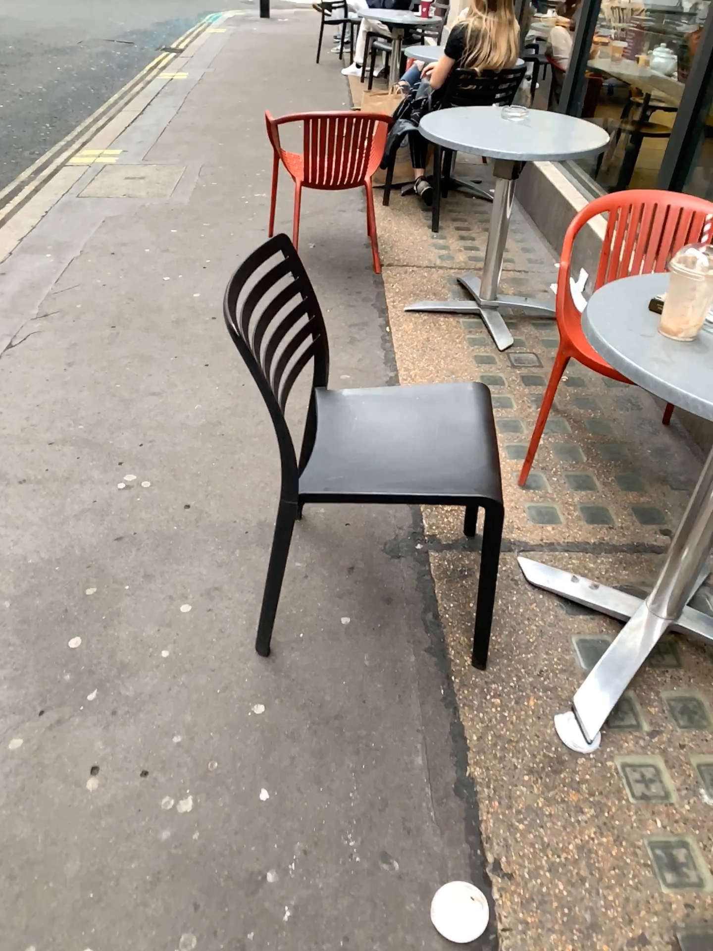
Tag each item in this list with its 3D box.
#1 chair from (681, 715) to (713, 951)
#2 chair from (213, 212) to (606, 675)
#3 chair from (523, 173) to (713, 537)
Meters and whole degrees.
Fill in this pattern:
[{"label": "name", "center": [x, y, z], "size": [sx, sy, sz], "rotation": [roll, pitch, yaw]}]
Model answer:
[{"label": "chair", "center": [0.879, 0.845, 0.597], "size": [0.643, 0.772, 0.704], "rotation": [-25, 46, -34]}, {"label": "chair", "center": [0.067, -0.067, 1.546], "size": [0.600, 0.752, 0.556], "rotation": [5, 37, 0]}, {"label": "chair", "center": [0.853, -0.364, 2.089], "size": [0.570, 0.742, 0.646], "rotation": [11, 37, 7]}]
